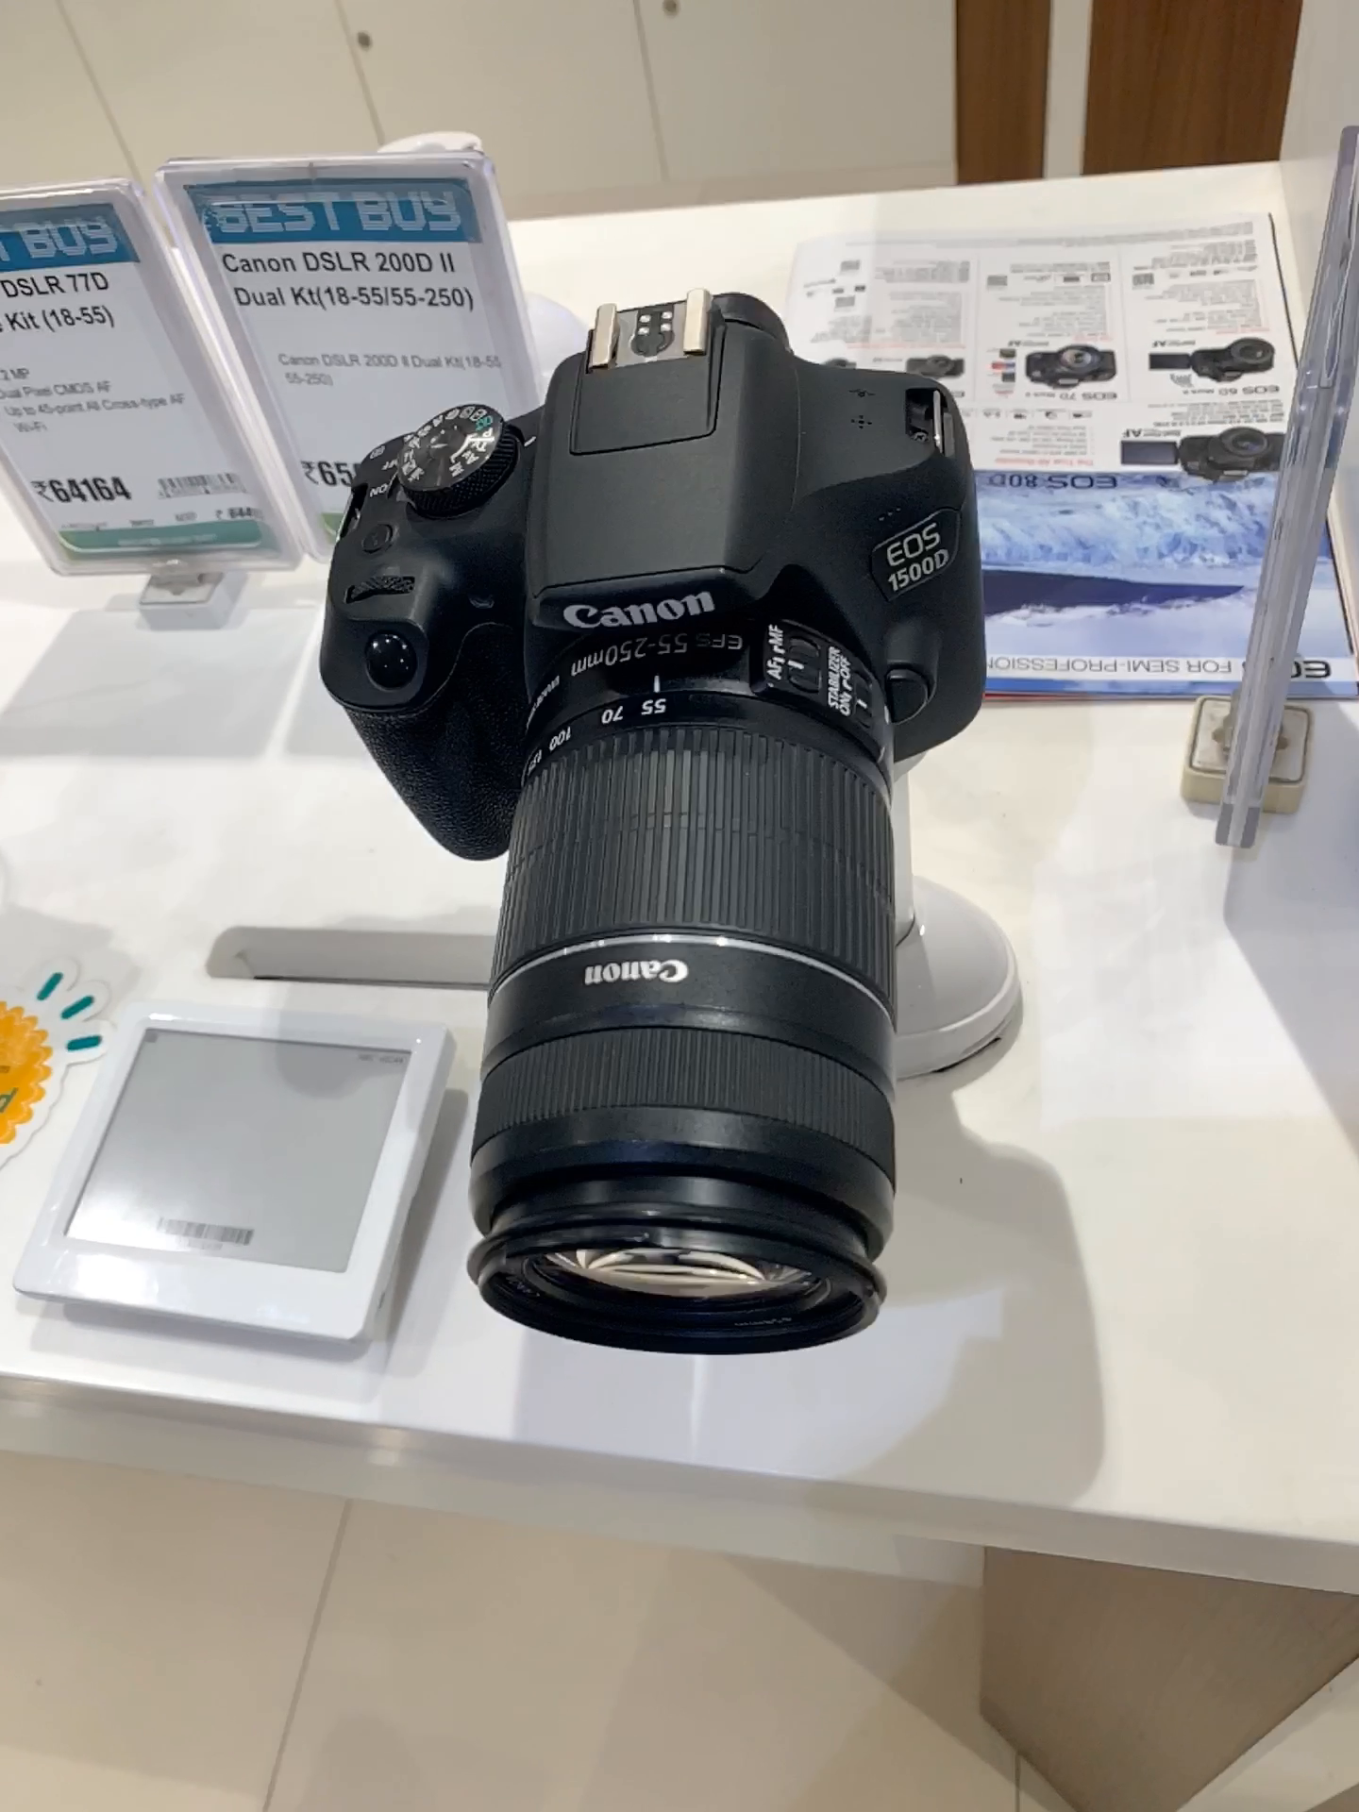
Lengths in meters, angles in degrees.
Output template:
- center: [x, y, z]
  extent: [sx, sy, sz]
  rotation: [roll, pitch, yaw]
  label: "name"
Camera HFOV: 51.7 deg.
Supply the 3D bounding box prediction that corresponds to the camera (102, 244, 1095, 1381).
- center: [-0.003, -0.013, 0.241]
  extent: [0.117, 0.090, 0.164]
  rotation: [-4, 60, 9]
  label: "camera"
